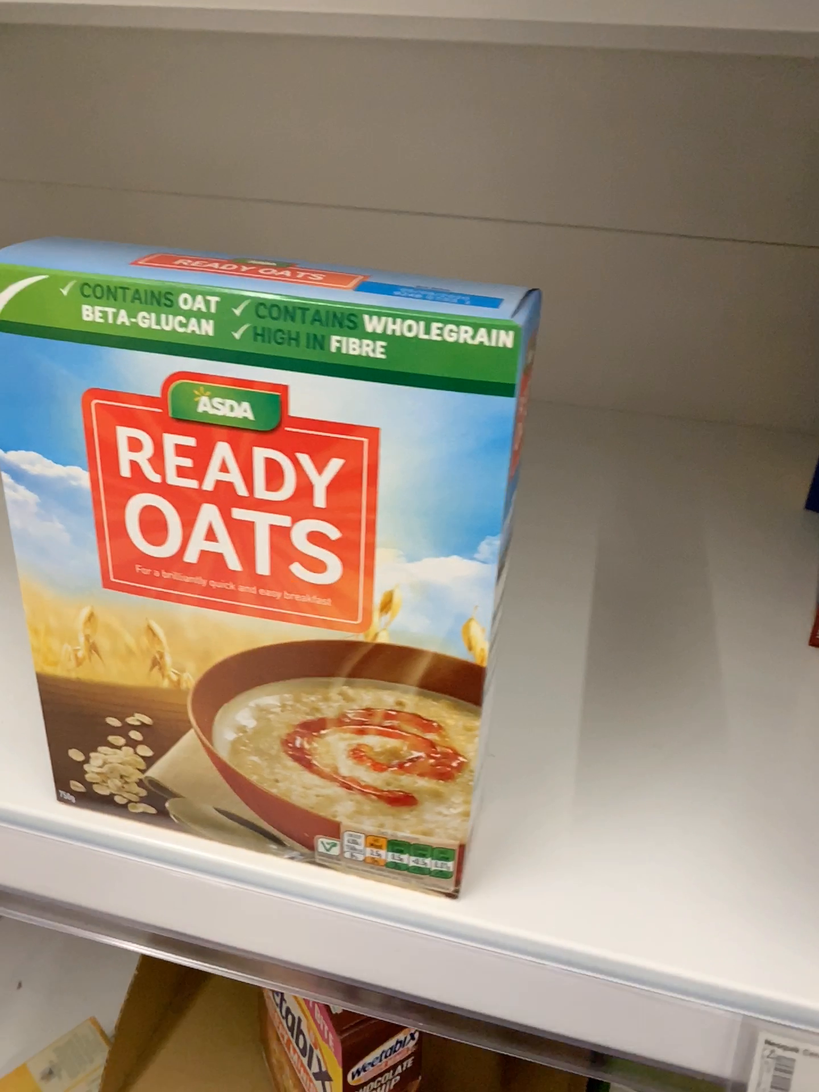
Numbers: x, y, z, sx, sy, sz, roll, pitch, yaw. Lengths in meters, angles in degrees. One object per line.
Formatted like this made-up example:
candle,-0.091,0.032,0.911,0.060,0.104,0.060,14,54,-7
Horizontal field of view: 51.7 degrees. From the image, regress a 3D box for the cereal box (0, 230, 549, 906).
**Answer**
cereal box,-0.064,0.013,0.366,0.210,0.258,0.071,9,28,12
